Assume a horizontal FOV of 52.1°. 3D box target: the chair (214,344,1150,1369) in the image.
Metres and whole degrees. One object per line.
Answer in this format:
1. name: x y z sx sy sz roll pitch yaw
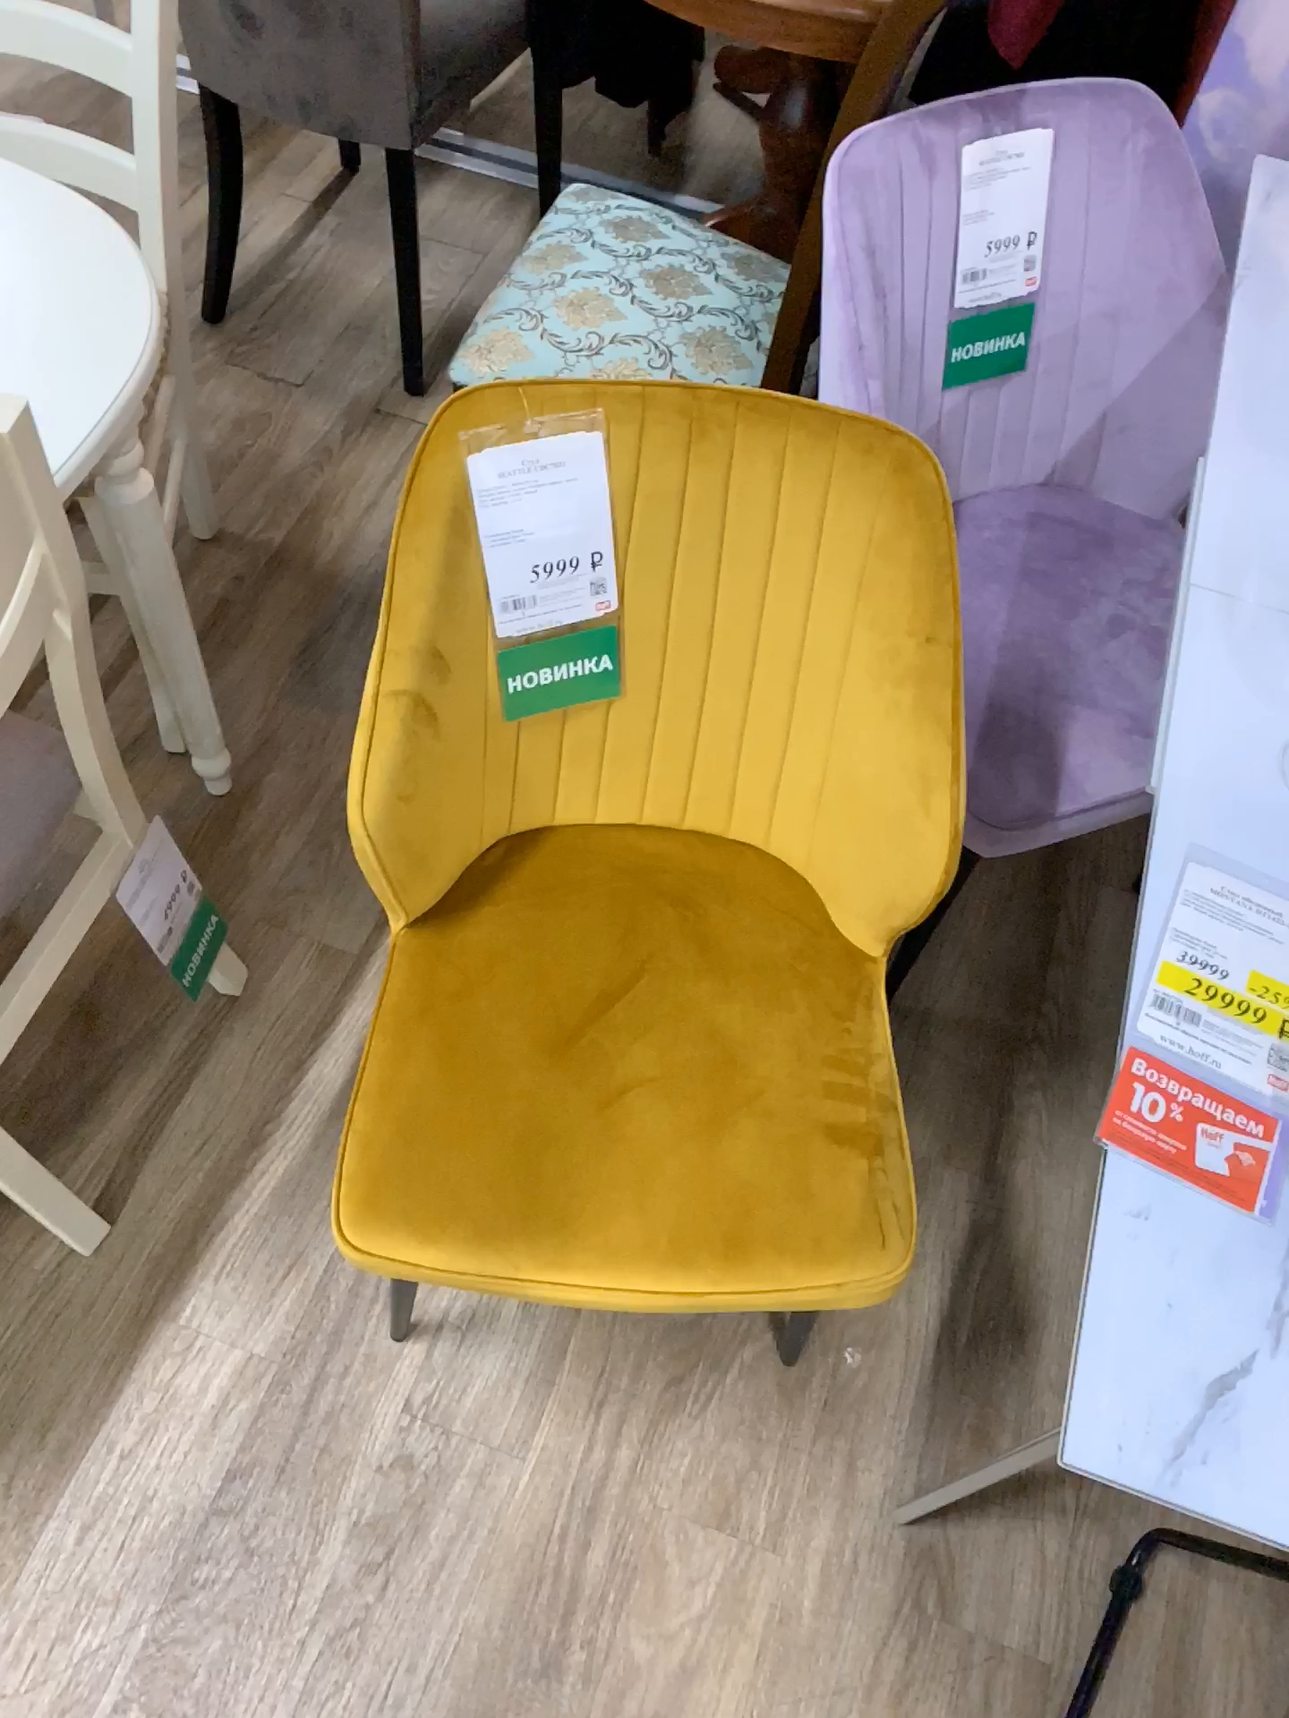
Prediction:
1. chair: -0.009 0.095 1.207 0.500 0.887 0.502 5 57 -4
